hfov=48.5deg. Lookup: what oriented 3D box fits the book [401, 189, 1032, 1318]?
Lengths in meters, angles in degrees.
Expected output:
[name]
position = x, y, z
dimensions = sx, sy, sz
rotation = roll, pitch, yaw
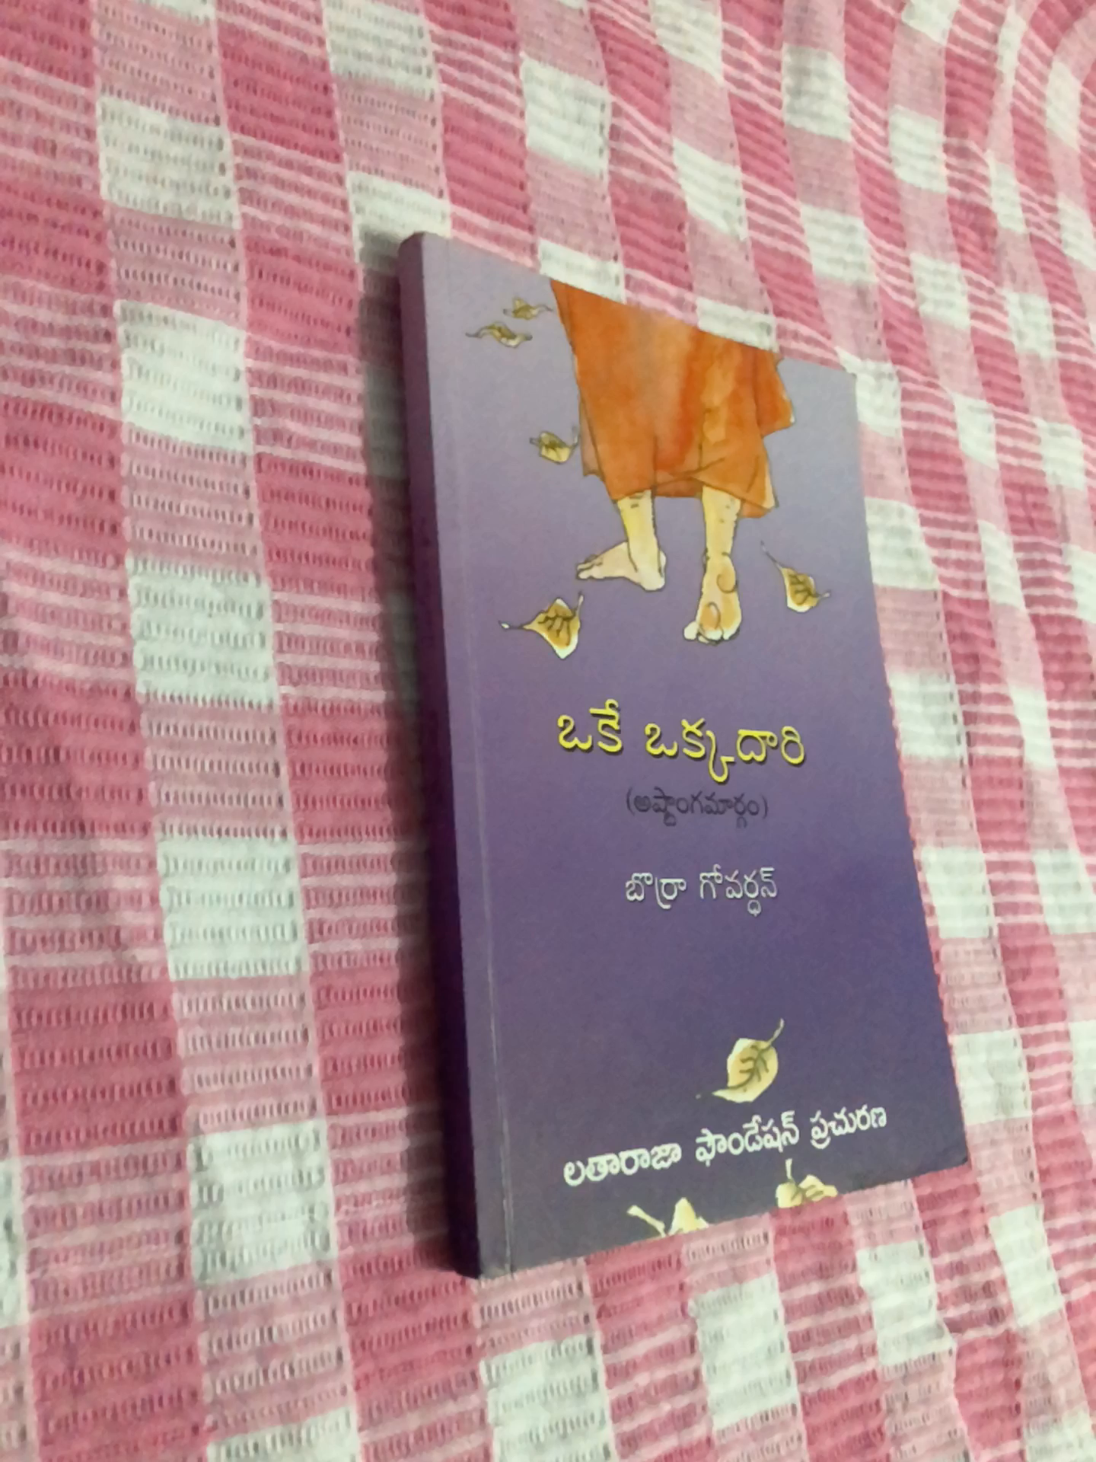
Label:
[book]
position = 0.042, 0.001, 0.275
dimensions = 0.151, 0.020, 0.210
rotation = 5, 75, -37
